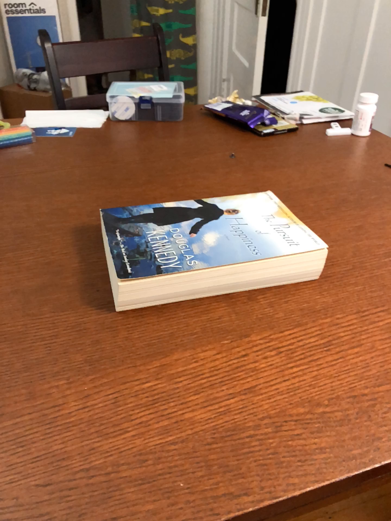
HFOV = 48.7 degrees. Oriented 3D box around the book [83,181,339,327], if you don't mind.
[{"bbox_3d":[0.006,-0.020,0.484,0.240,0.050,0.161,-9,36,-14],"label":"book"}]
